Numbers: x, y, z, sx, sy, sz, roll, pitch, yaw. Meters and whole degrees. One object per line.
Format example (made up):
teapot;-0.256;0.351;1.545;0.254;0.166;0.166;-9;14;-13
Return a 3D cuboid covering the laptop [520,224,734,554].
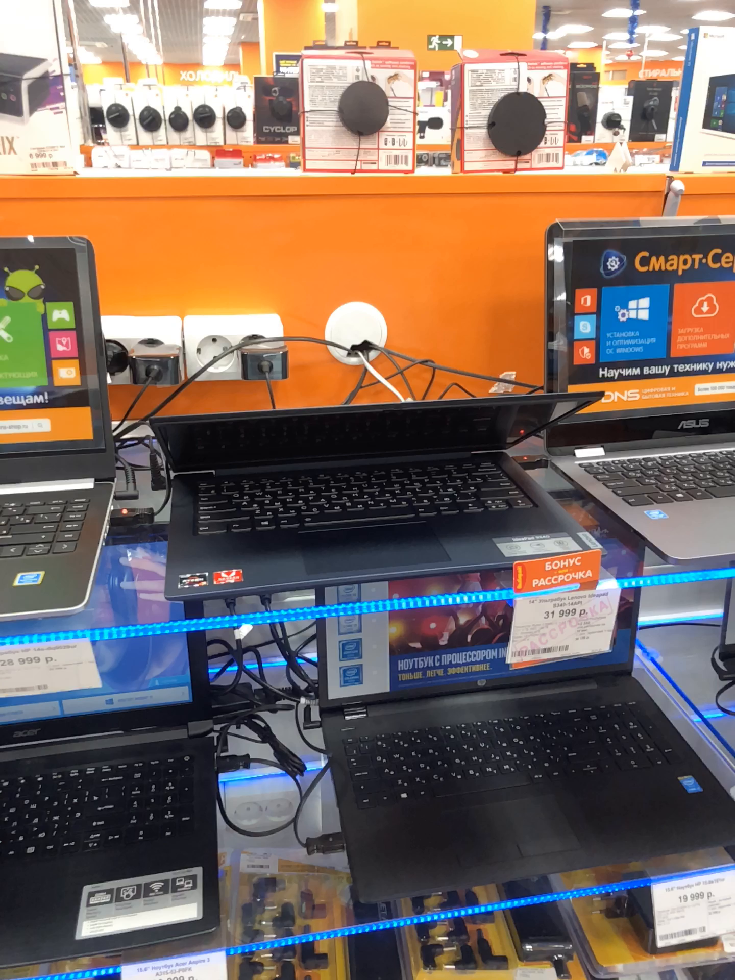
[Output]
laptop;0.347;-0.109;0.689;0.330;0.202;0.258;-5;23;-14

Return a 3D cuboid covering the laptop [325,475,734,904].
laptop;0.151;0.162;0.764;0.354;0.227;0.259;-5;25;-9

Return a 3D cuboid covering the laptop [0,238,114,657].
laptop;-0.364;-0.057;0.564;0.302;0.200;0.251;-4;23;-10

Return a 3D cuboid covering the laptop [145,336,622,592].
laptop;-0.002;-0.034;0.617;0.302;0.108;0.204;-5;23;-8
